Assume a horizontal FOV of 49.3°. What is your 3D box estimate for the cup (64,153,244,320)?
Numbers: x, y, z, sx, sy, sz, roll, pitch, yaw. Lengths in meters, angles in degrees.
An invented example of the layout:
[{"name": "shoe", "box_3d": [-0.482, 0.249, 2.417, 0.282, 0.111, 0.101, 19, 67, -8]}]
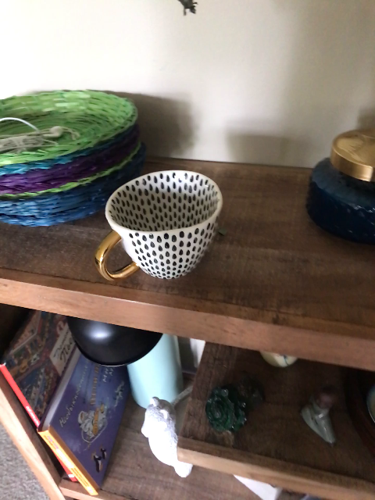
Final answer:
[{"name": "cup", "box_3d": [-0.029, -0.021, 0.396, 0.131, 0.079, 0.100, -28, 45, -27]}]
